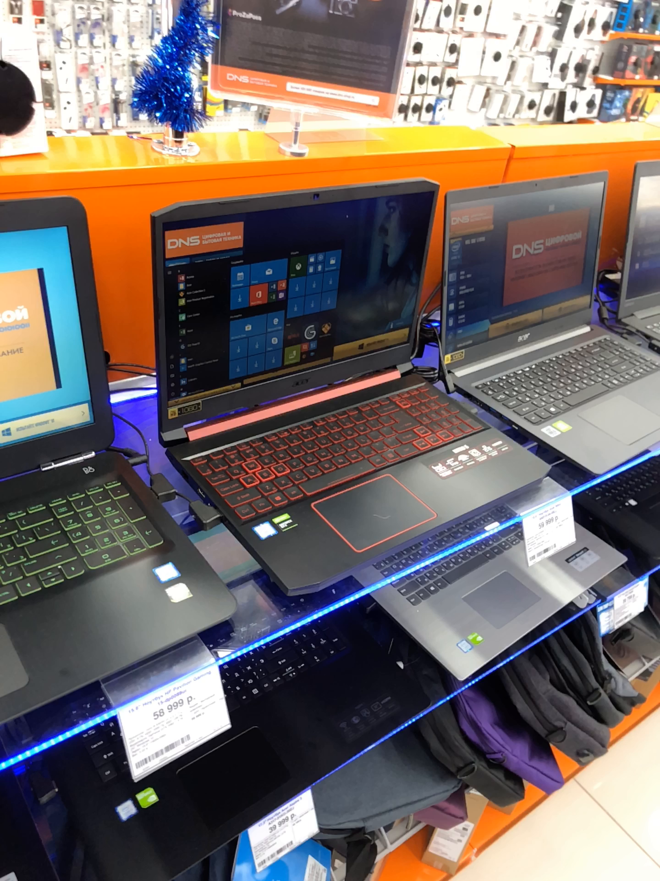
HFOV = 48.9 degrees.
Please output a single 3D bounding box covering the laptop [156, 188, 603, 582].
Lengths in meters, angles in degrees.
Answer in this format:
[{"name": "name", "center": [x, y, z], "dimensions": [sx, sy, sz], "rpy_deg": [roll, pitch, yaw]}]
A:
[{"name": "laptop", "center": [0.036, -0.084, 0.723], "dimensions": [0.329, 0.231, 0.251], "rpy_deg": [-19, 43, -35]}]
